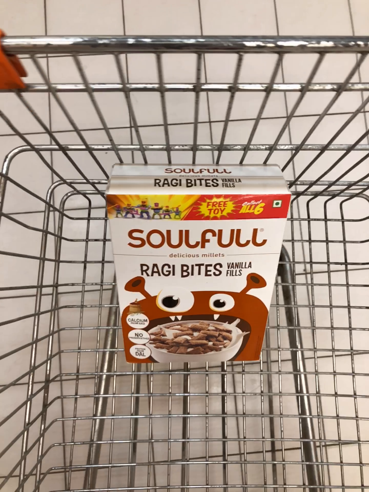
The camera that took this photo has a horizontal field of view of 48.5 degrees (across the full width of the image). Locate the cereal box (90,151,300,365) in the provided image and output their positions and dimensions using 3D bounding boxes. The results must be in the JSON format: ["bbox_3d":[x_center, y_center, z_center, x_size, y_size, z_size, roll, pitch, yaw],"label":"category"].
[{"bbox_3d":[0.006,0.025,0.455,0.180,0.249,0.070,-1,39,-3],"label":"cereal box"}]
